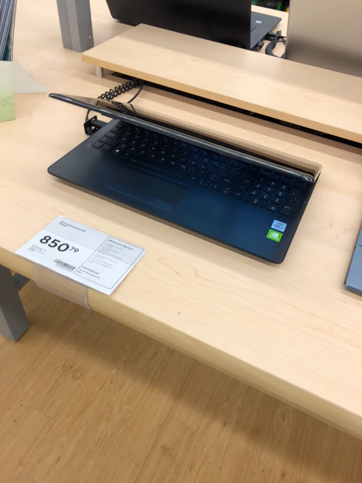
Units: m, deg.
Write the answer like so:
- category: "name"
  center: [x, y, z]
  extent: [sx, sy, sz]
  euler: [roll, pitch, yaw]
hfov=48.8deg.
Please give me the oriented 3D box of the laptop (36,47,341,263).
- category: "laptop"
  center: [0.016, -0.156, 0.600]
  extent: [0.371, 0.115, 0.240]
  euler: [22, 47, 17]
